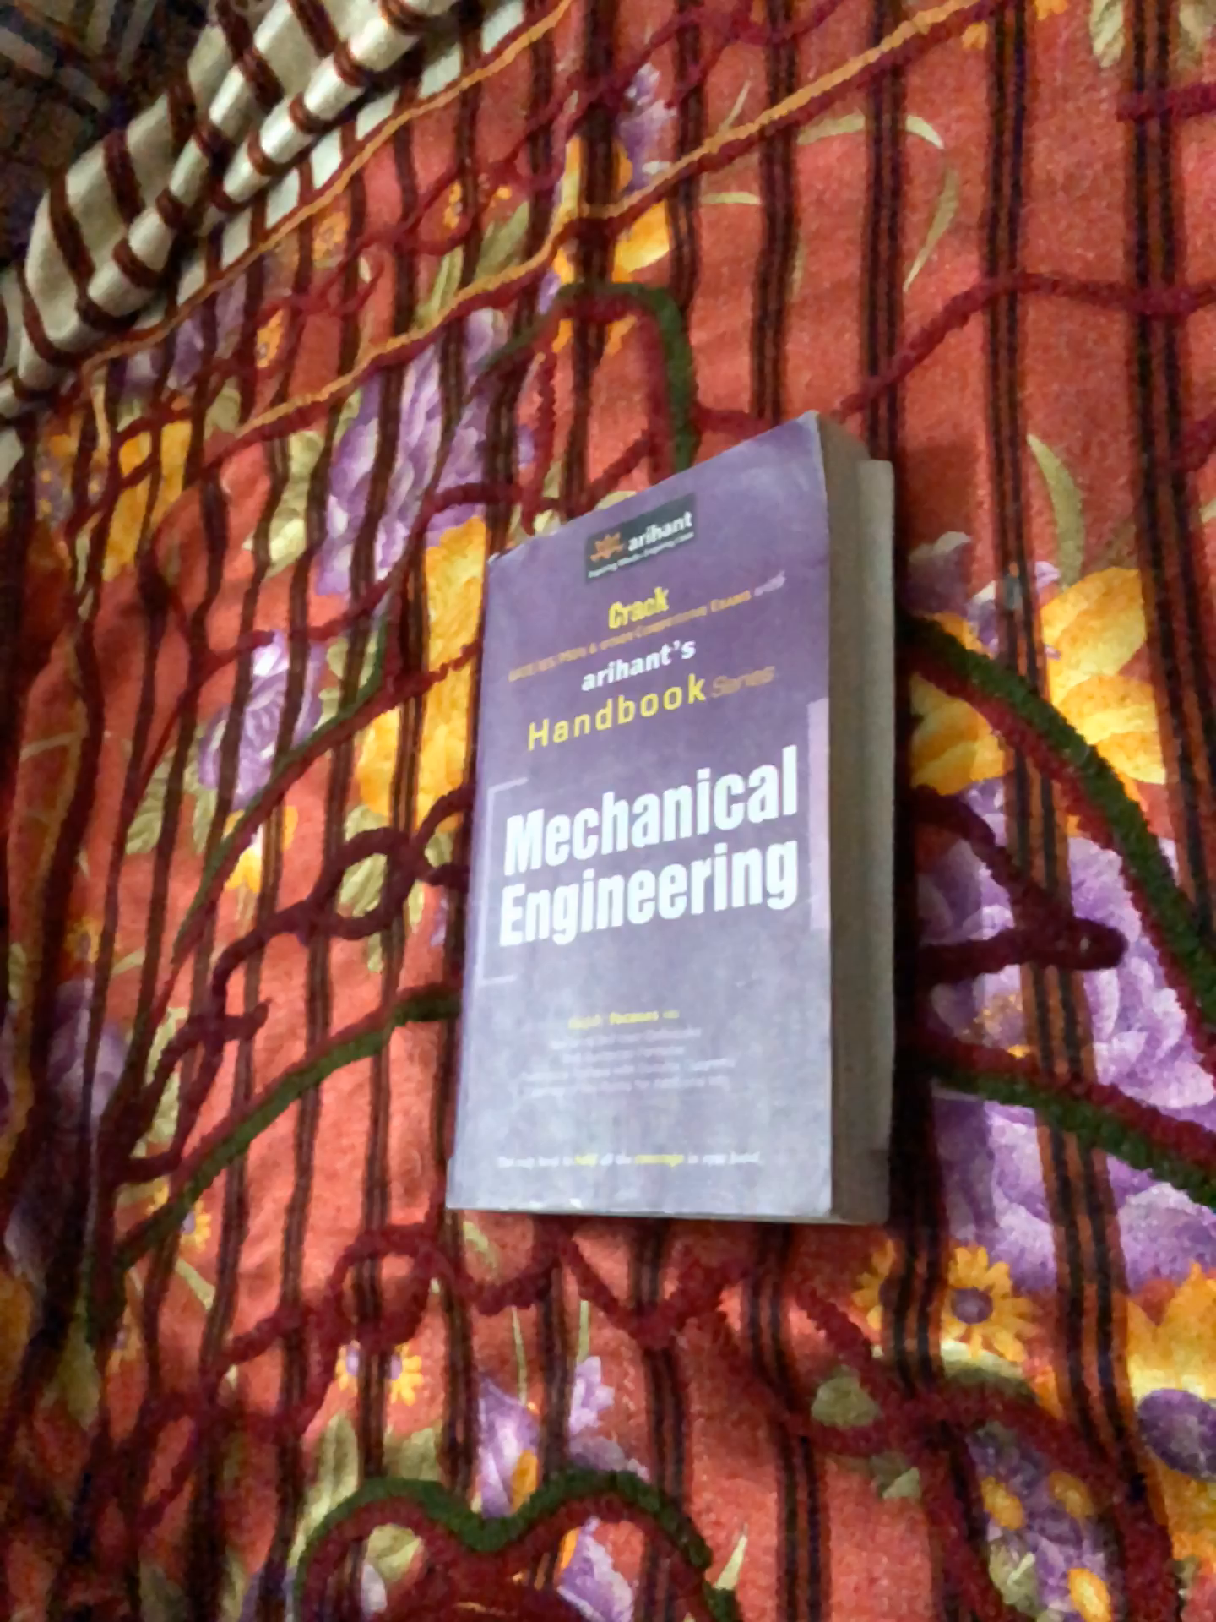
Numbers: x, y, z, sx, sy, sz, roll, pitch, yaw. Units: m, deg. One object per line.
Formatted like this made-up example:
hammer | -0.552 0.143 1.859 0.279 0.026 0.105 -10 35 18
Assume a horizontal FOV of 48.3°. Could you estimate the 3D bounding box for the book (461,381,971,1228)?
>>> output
book | 0.028 0.005 0.415 0.148 0.040 0.231 -13 66 39
